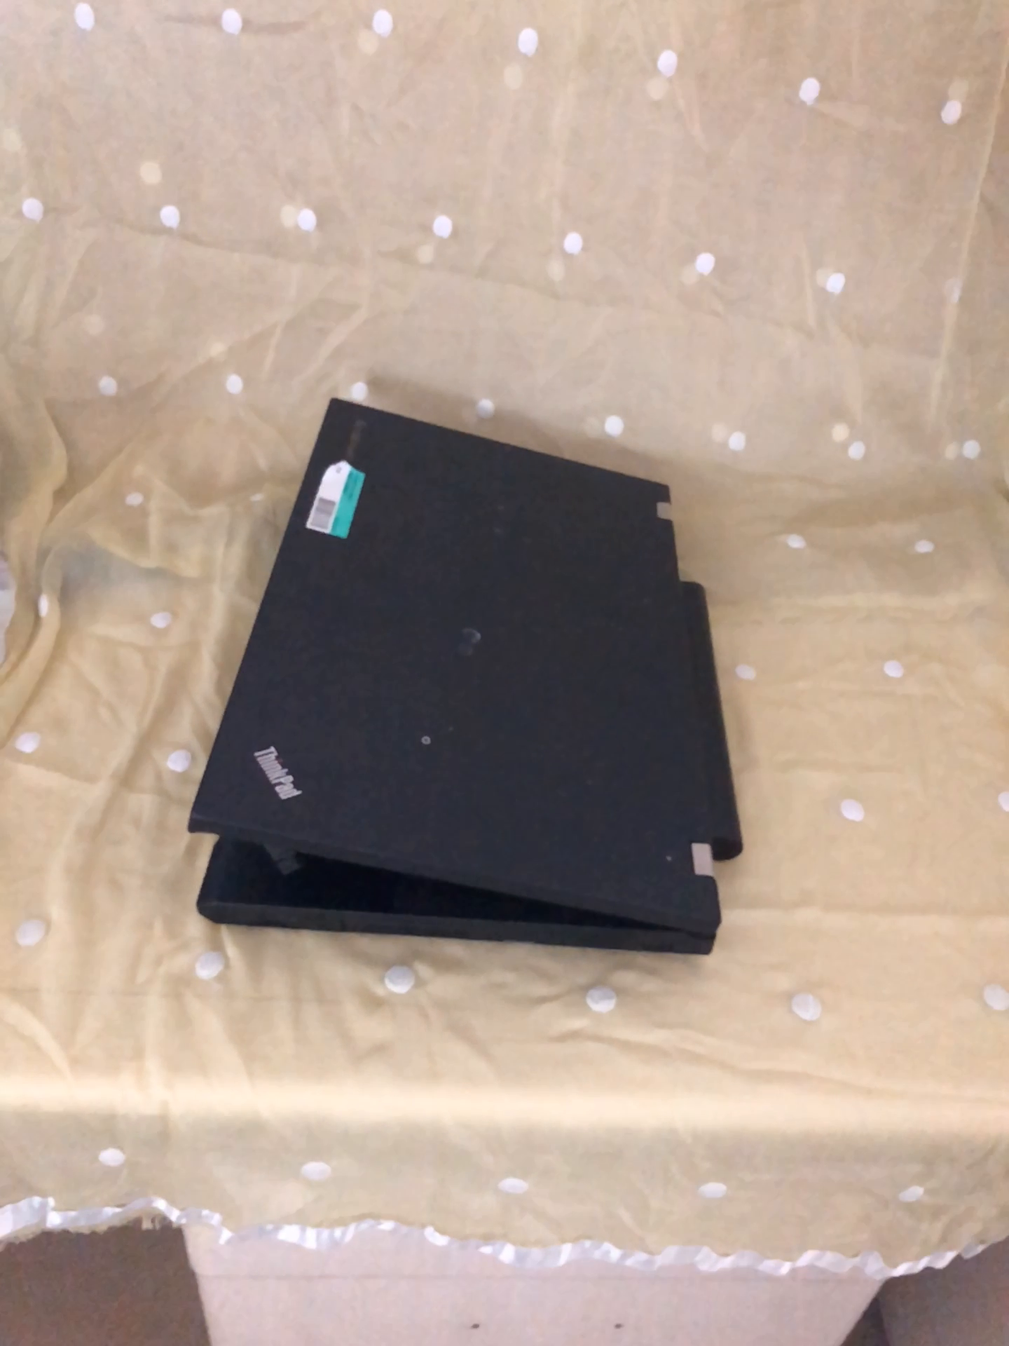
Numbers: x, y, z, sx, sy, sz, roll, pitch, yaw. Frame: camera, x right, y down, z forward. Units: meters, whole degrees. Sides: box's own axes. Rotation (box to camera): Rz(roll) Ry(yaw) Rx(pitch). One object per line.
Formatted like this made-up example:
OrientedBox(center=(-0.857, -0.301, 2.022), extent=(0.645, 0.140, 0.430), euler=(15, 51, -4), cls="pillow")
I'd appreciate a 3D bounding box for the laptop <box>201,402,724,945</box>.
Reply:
OrientedBox(center=(-0.011, -0.030, 0.625), extent=(0.225, 0.050, 0.358), euler=(4, 43, 2), cls="laptop")
